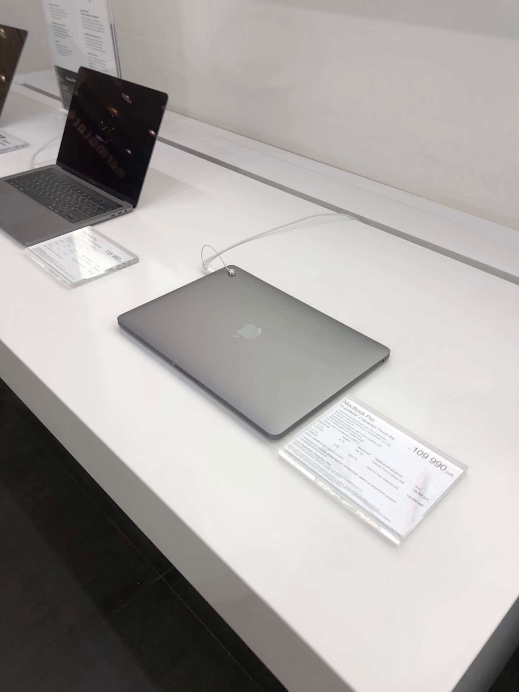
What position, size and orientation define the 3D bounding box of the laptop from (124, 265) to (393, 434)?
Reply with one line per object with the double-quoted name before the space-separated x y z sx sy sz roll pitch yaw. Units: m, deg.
"laptop" -0.008 -0.016 0.733 0.199 0.001 0.293 -30 47 -33
